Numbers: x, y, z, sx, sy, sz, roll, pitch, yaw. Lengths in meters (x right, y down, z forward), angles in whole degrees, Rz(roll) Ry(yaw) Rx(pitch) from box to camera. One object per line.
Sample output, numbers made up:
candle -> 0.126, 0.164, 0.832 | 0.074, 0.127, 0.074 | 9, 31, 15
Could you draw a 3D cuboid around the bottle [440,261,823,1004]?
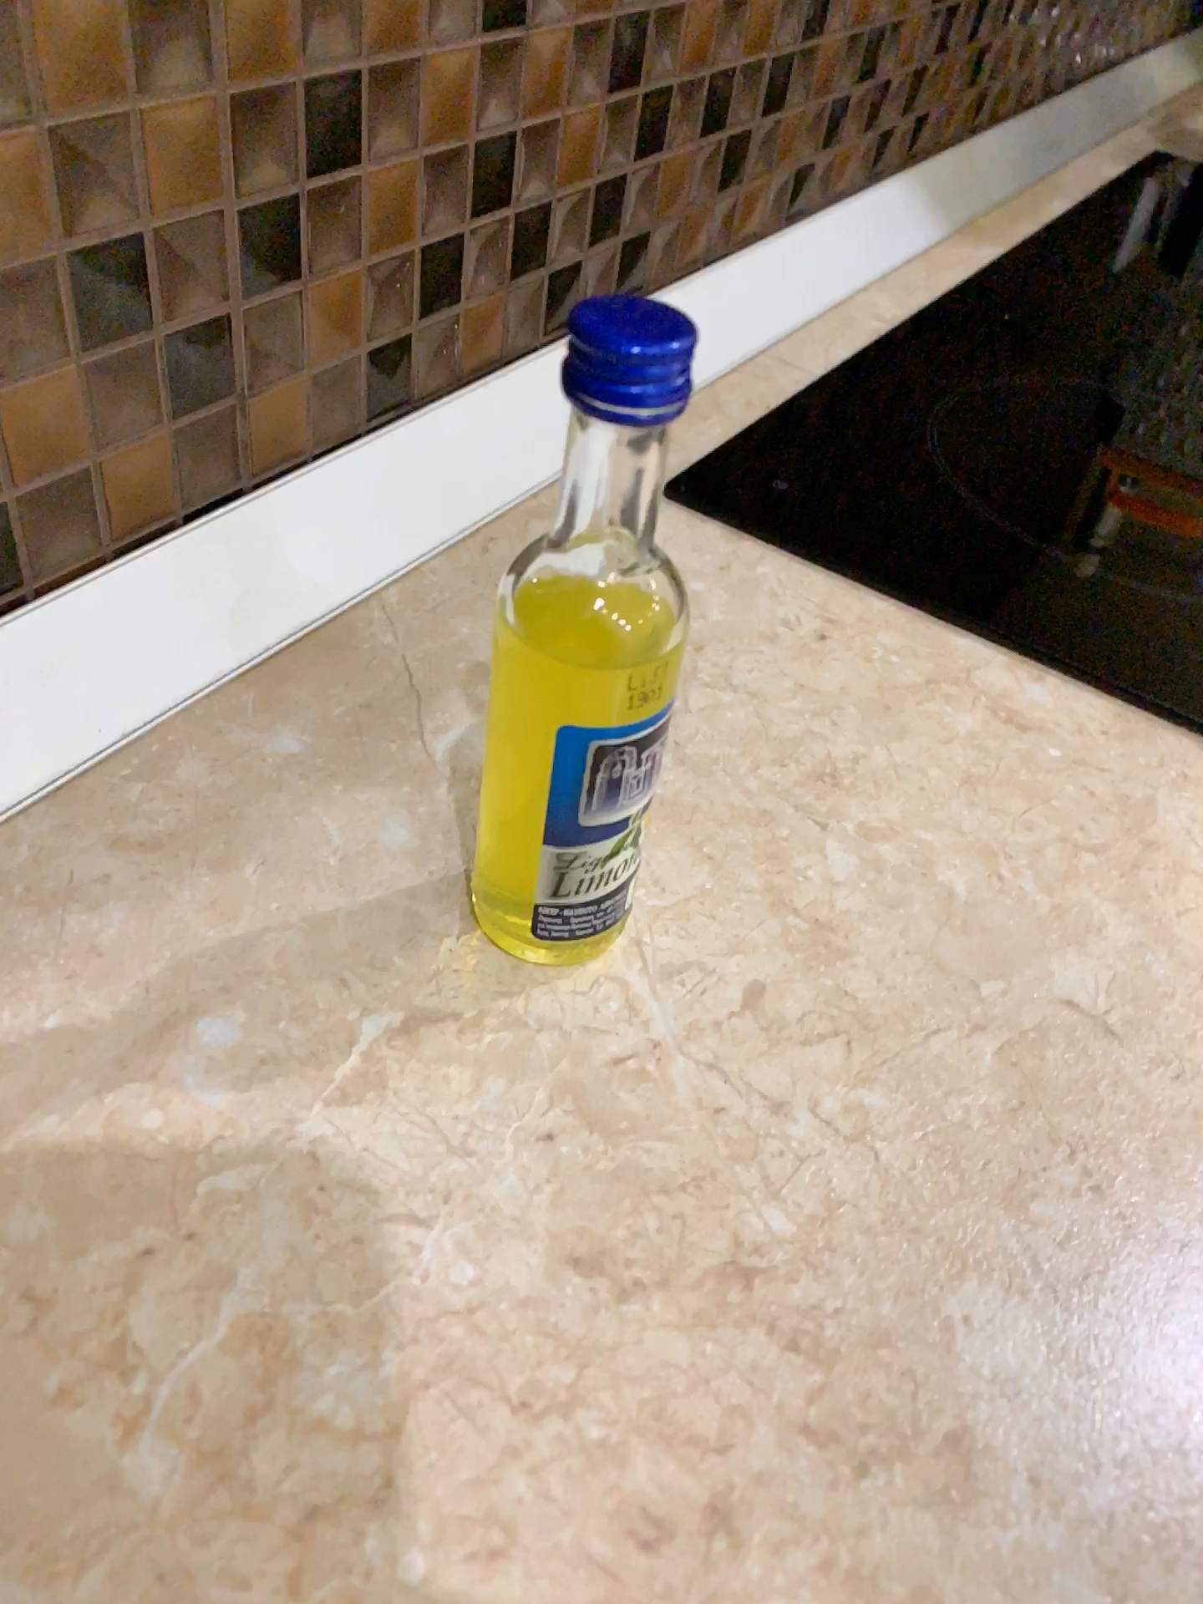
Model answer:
bottle -> 0.000, -0.022, 0.214 | 0.033, 0.119, 0.039 | 28, 46, 18
